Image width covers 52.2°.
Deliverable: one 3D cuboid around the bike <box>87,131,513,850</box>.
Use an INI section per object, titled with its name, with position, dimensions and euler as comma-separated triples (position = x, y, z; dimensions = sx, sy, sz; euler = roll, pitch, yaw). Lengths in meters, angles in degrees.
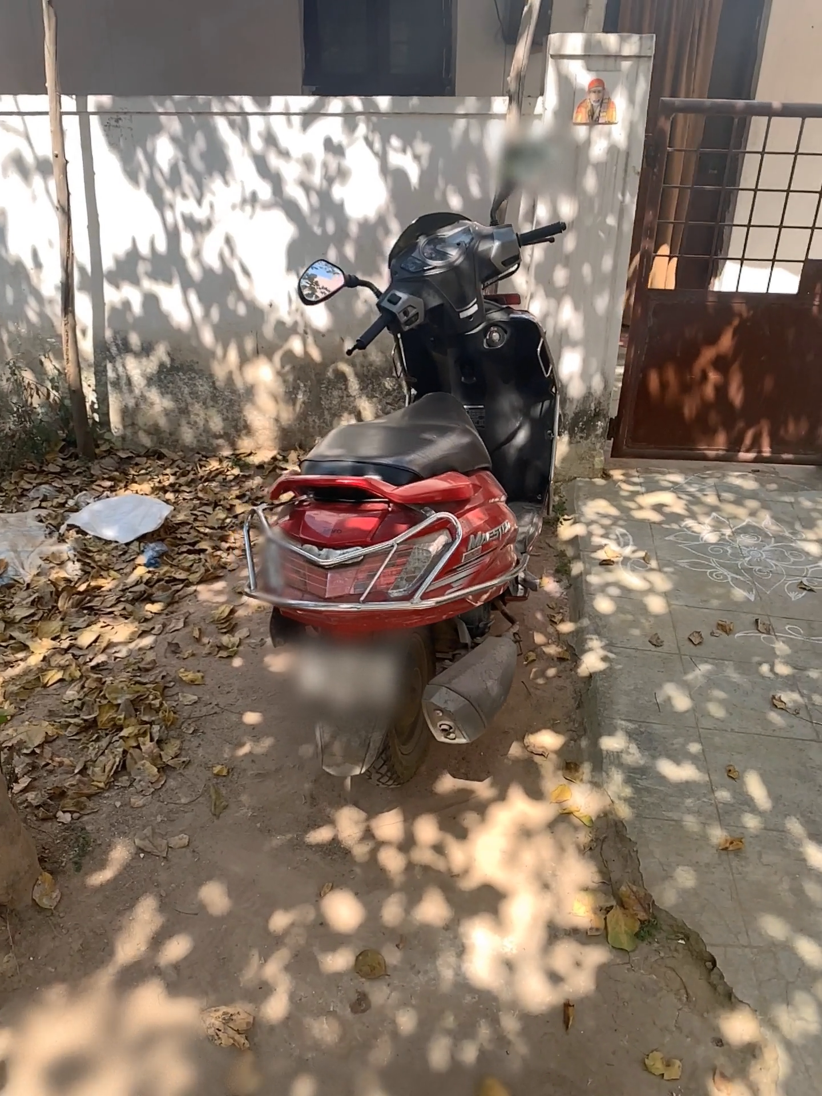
[bike]
position = -0.122, -0.397, 2.367
dimensions = 0.735, 1.155, 1.768
euler = 4, 32, 6
